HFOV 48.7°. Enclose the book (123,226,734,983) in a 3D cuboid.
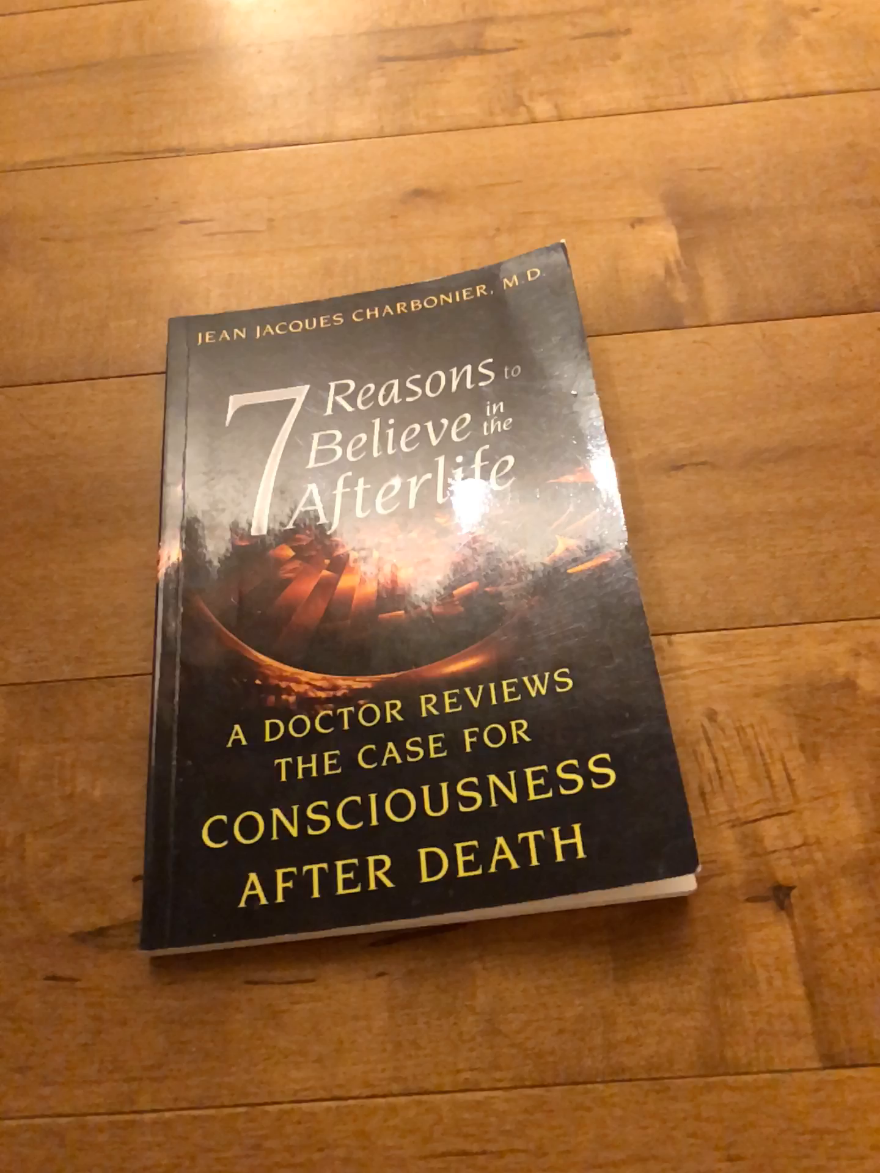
[{"bbox_3d":[-0.015,-0.008,0.336,0.170,0.030,0.251,-9,62,7],"label":"book"}]
